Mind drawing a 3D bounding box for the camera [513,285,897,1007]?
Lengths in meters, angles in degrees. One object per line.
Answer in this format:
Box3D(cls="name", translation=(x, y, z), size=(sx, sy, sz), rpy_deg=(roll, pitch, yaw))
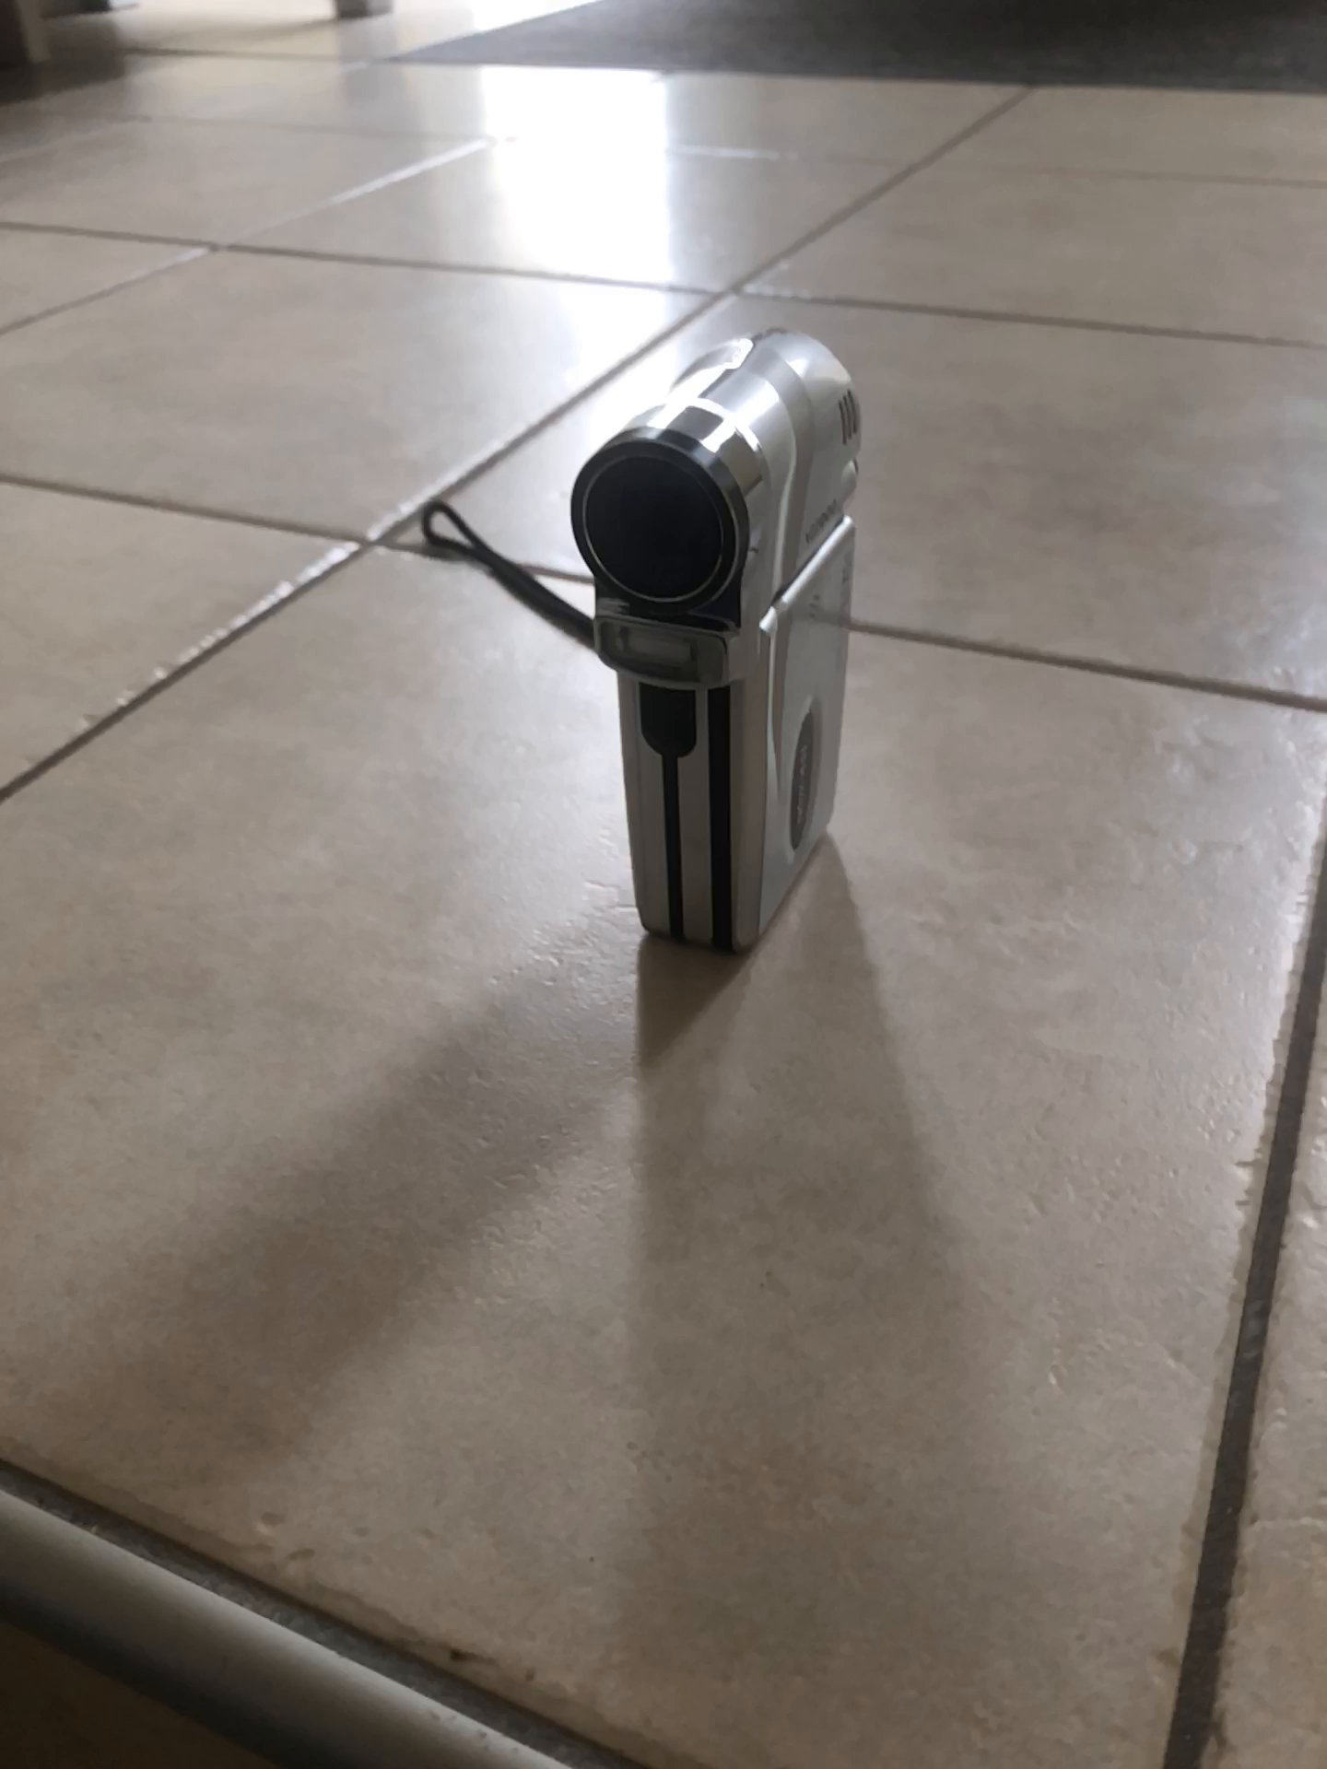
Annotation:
Box3D(cls="camera", translation=(0.012, -0.047, 0.286), size=(0.040, 0.109, 0.081), rpy_deg=(12, 38, 19))
